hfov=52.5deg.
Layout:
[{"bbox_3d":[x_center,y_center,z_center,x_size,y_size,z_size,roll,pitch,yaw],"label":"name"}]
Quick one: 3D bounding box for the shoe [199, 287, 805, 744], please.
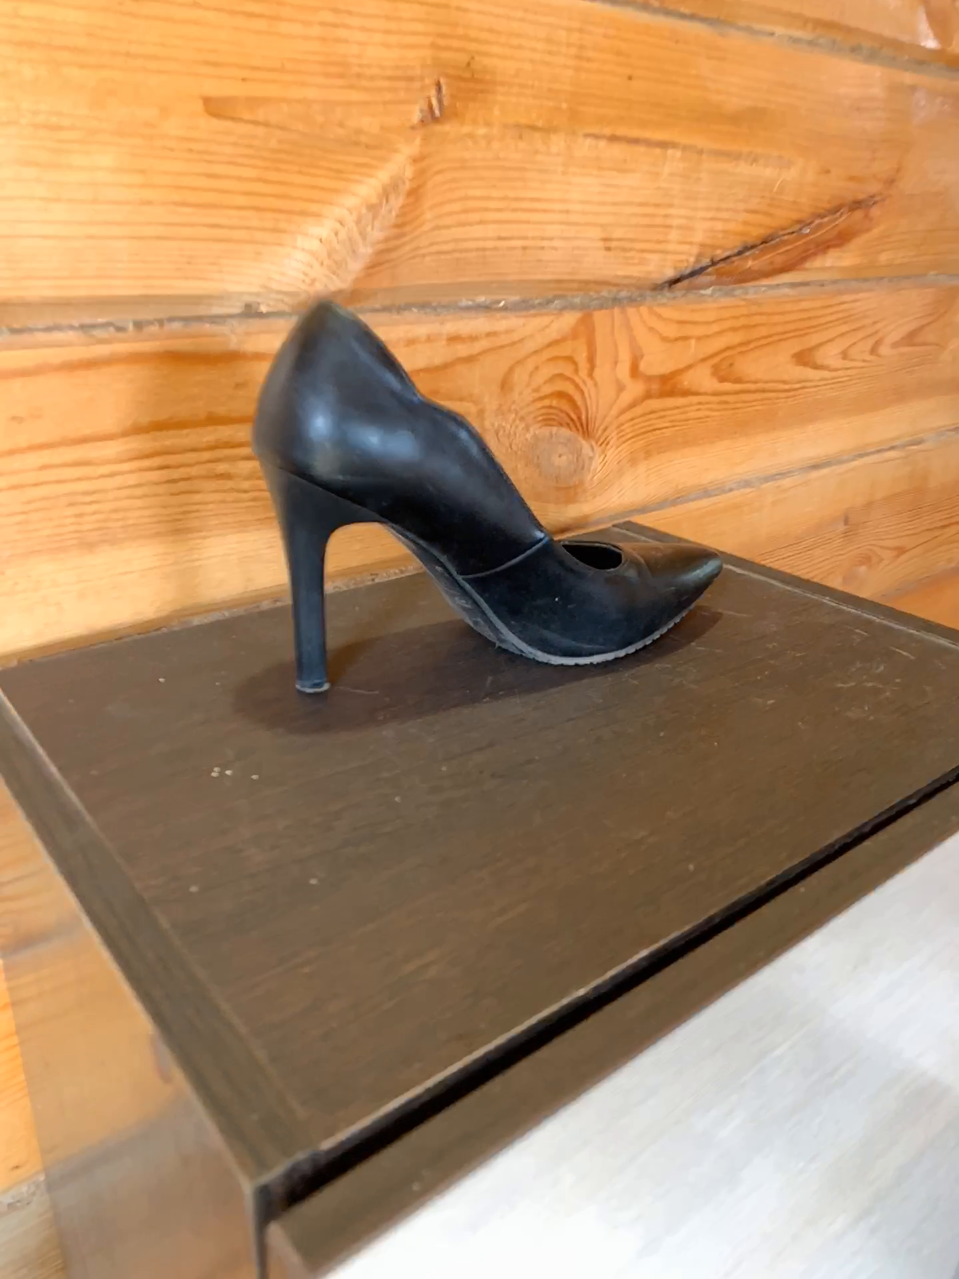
[{"bbox_3d":[0.010,-0.067,0.414,0.220,0.149,0.101,-11,25,-26],"label":"shoe"}]
